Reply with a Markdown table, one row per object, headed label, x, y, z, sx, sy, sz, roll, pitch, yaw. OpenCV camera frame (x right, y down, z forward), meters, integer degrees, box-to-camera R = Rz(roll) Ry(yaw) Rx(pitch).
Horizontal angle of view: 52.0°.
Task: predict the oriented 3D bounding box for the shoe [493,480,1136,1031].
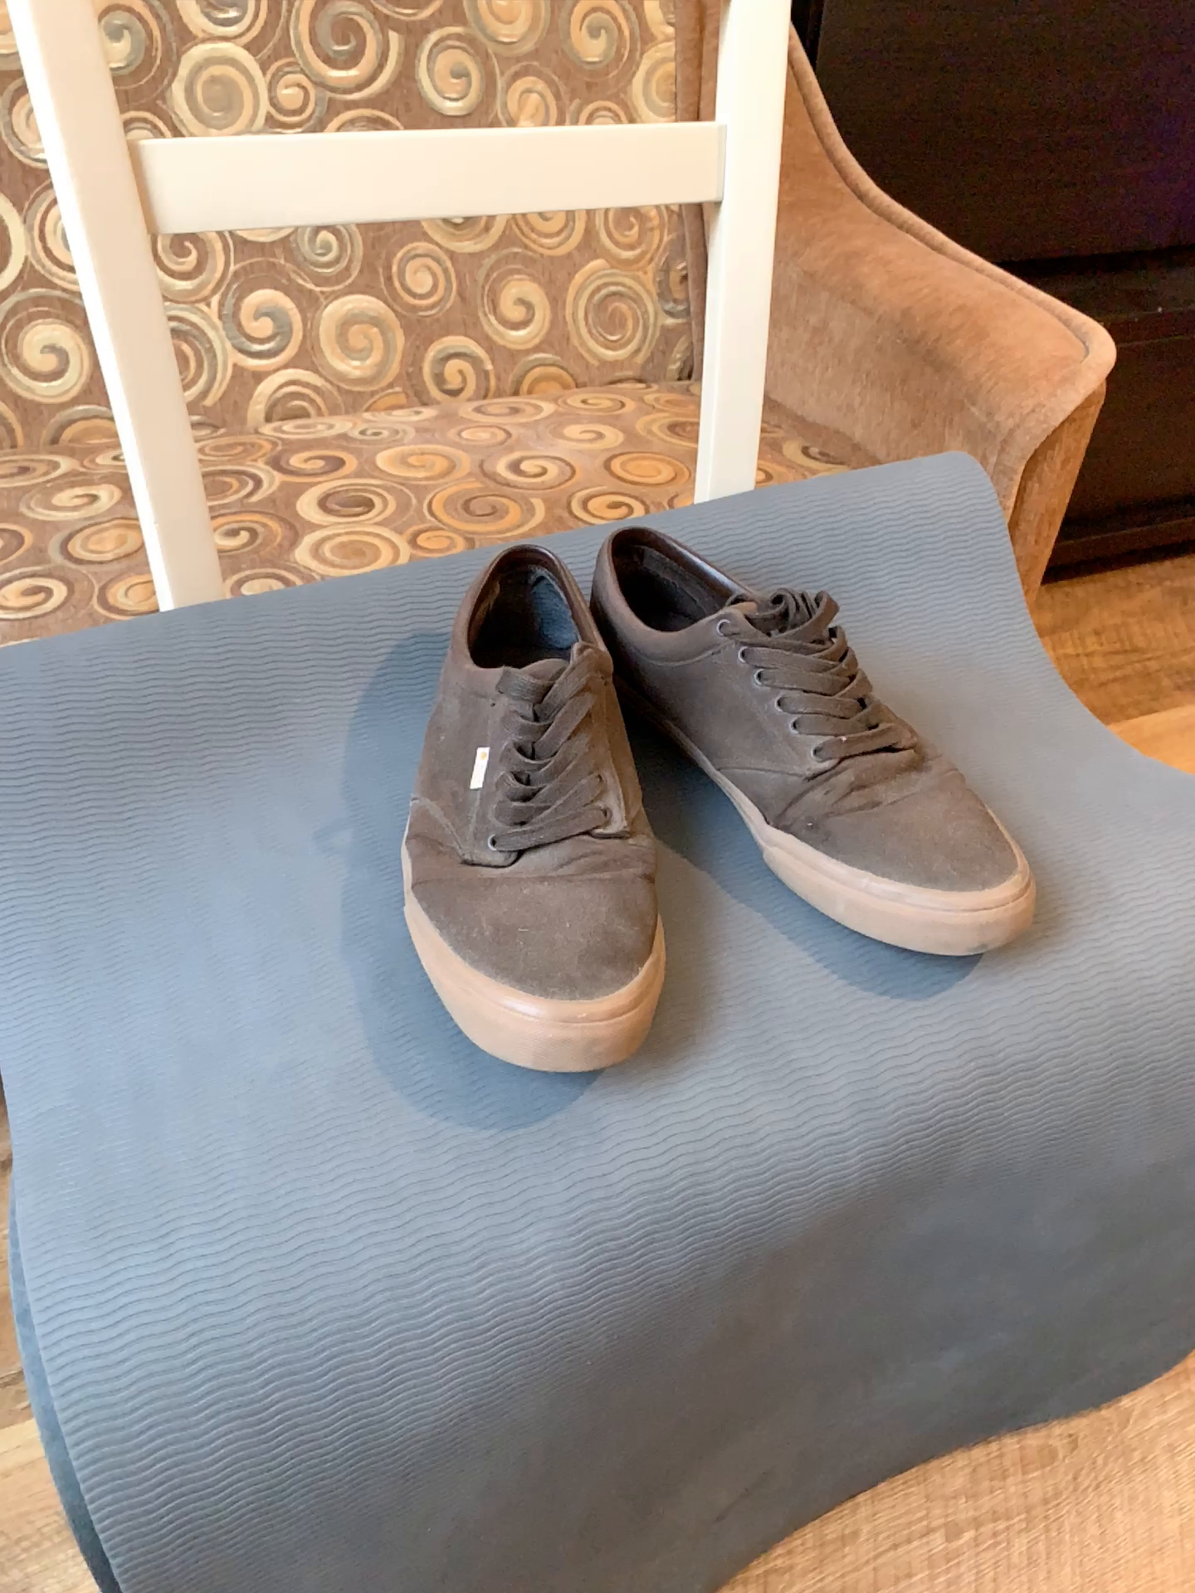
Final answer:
| label | x | y | z | sx | sy | sz | roll | pitch | yaw |
| --- | --- | --- | --- | --- | --- | --- | --- | --- | --- |
| shoe | 0.078 | -0.042 | 0.589 | 0.110 | 0.080 | 0.321 | -21 | 45 | -27 |

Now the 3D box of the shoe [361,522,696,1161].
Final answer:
| label | x | y | z | sx | sy | sz | roll | pitch | yaw |
| --- | --- | --- | --- | --- | --- | --- | --- | --- | --- |
| shoe | -0.047 | -0.009 | 0.557 | 0.110 | 0.080 | 0.342 | -3 | 39 | -8 |
